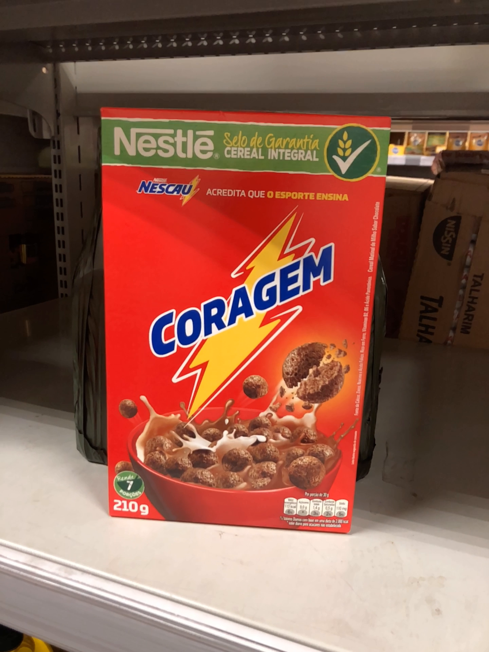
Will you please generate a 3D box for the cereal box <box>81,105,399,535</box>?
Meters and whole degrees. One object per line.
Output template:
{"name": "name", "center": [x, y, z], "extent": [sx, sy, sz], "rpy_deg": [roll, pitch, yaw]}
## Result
{"name": "cereal box", "center": [-0.004, -0.003, 0.344], "extent": [0.170, 0.249, 0.060], "rpy_deg": [2, 13, 5]}
